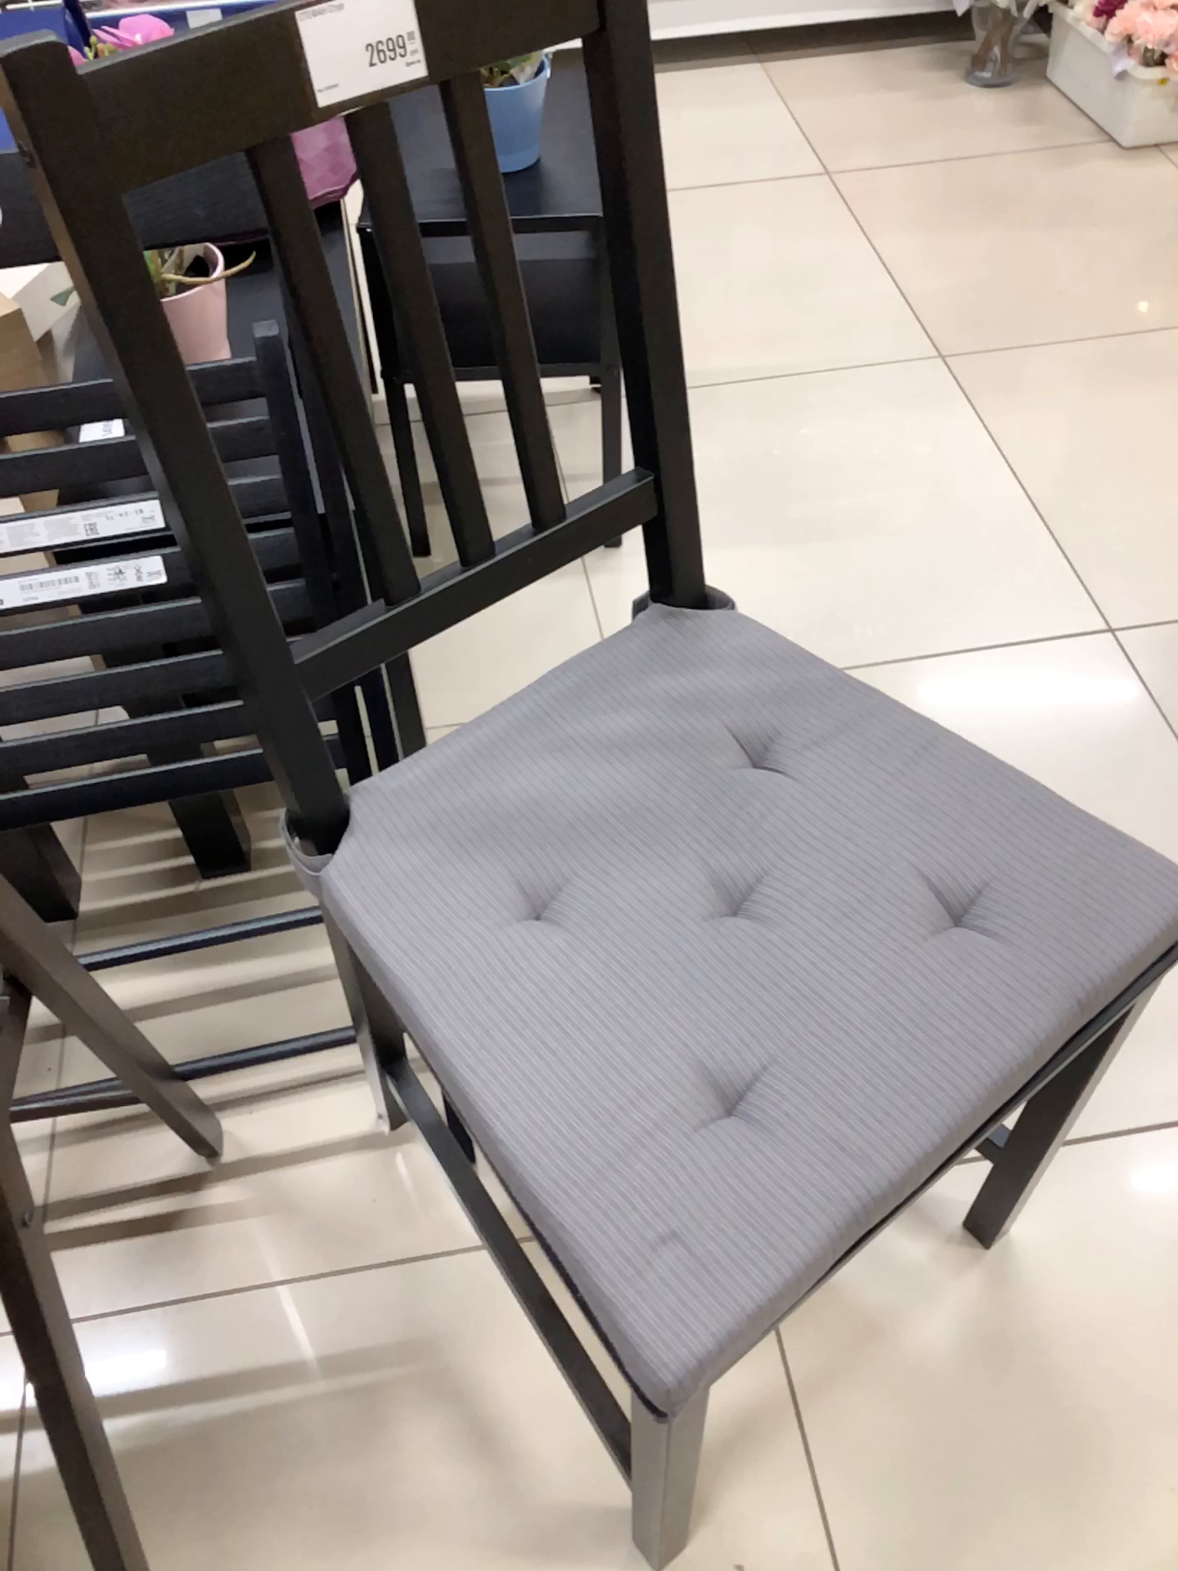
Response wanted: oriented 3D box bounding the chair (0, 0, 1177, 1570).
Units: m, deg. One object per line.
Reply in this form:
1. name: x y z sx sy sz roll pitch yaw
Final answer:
1. chair: 0.052 0.058 0.784 0.411 0.894 0.492 -32 56 -22
